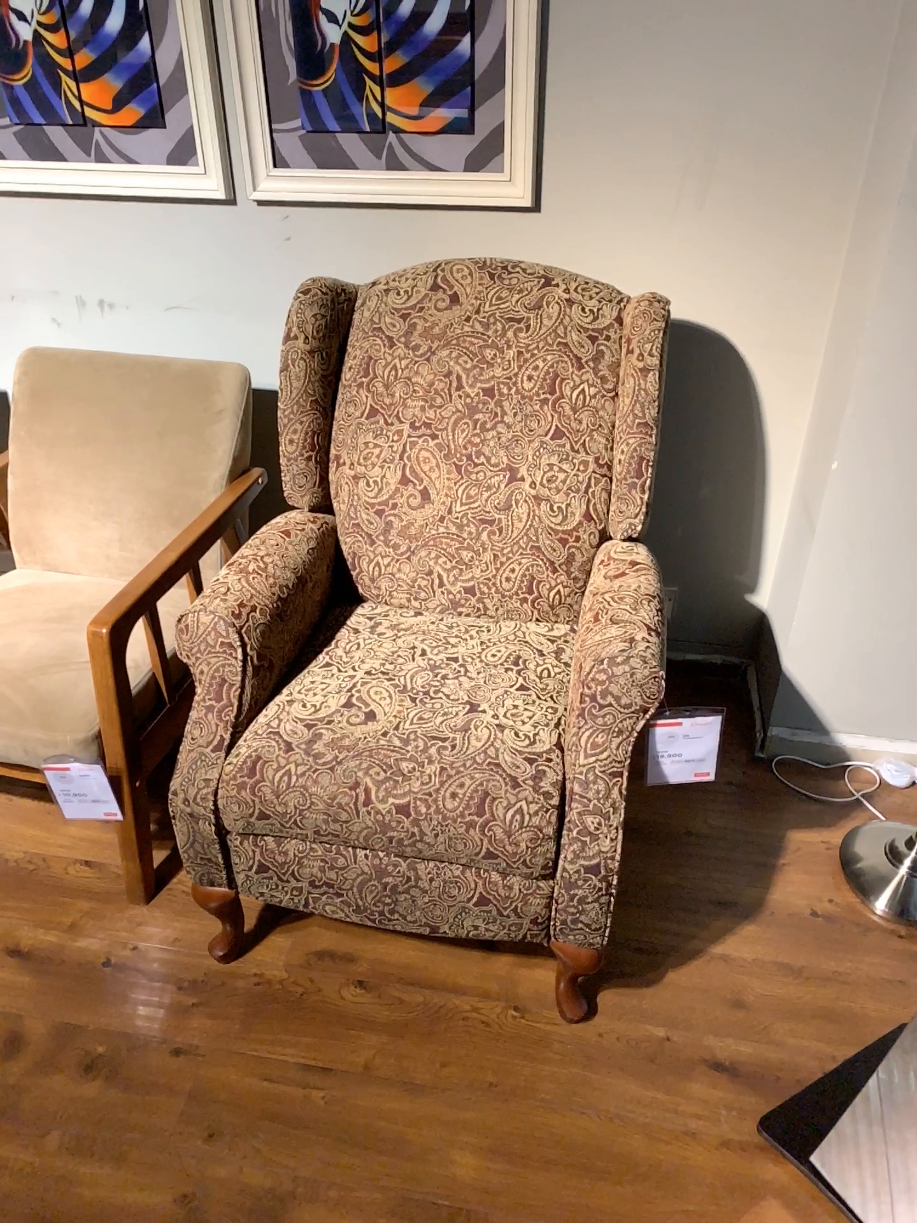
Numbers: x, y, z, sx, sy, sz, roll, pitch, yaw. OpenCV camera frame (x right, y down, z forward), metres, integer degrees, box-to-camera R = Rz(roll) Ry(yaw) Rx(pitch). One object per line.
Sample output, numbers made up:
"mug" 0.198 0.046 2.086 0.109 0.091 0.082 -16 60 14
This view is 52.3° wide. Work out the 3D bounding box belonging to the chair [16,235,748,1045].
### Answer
"chair" -0.029 -0.001 1.500 0.750 0.956 0.763 6 34 9
